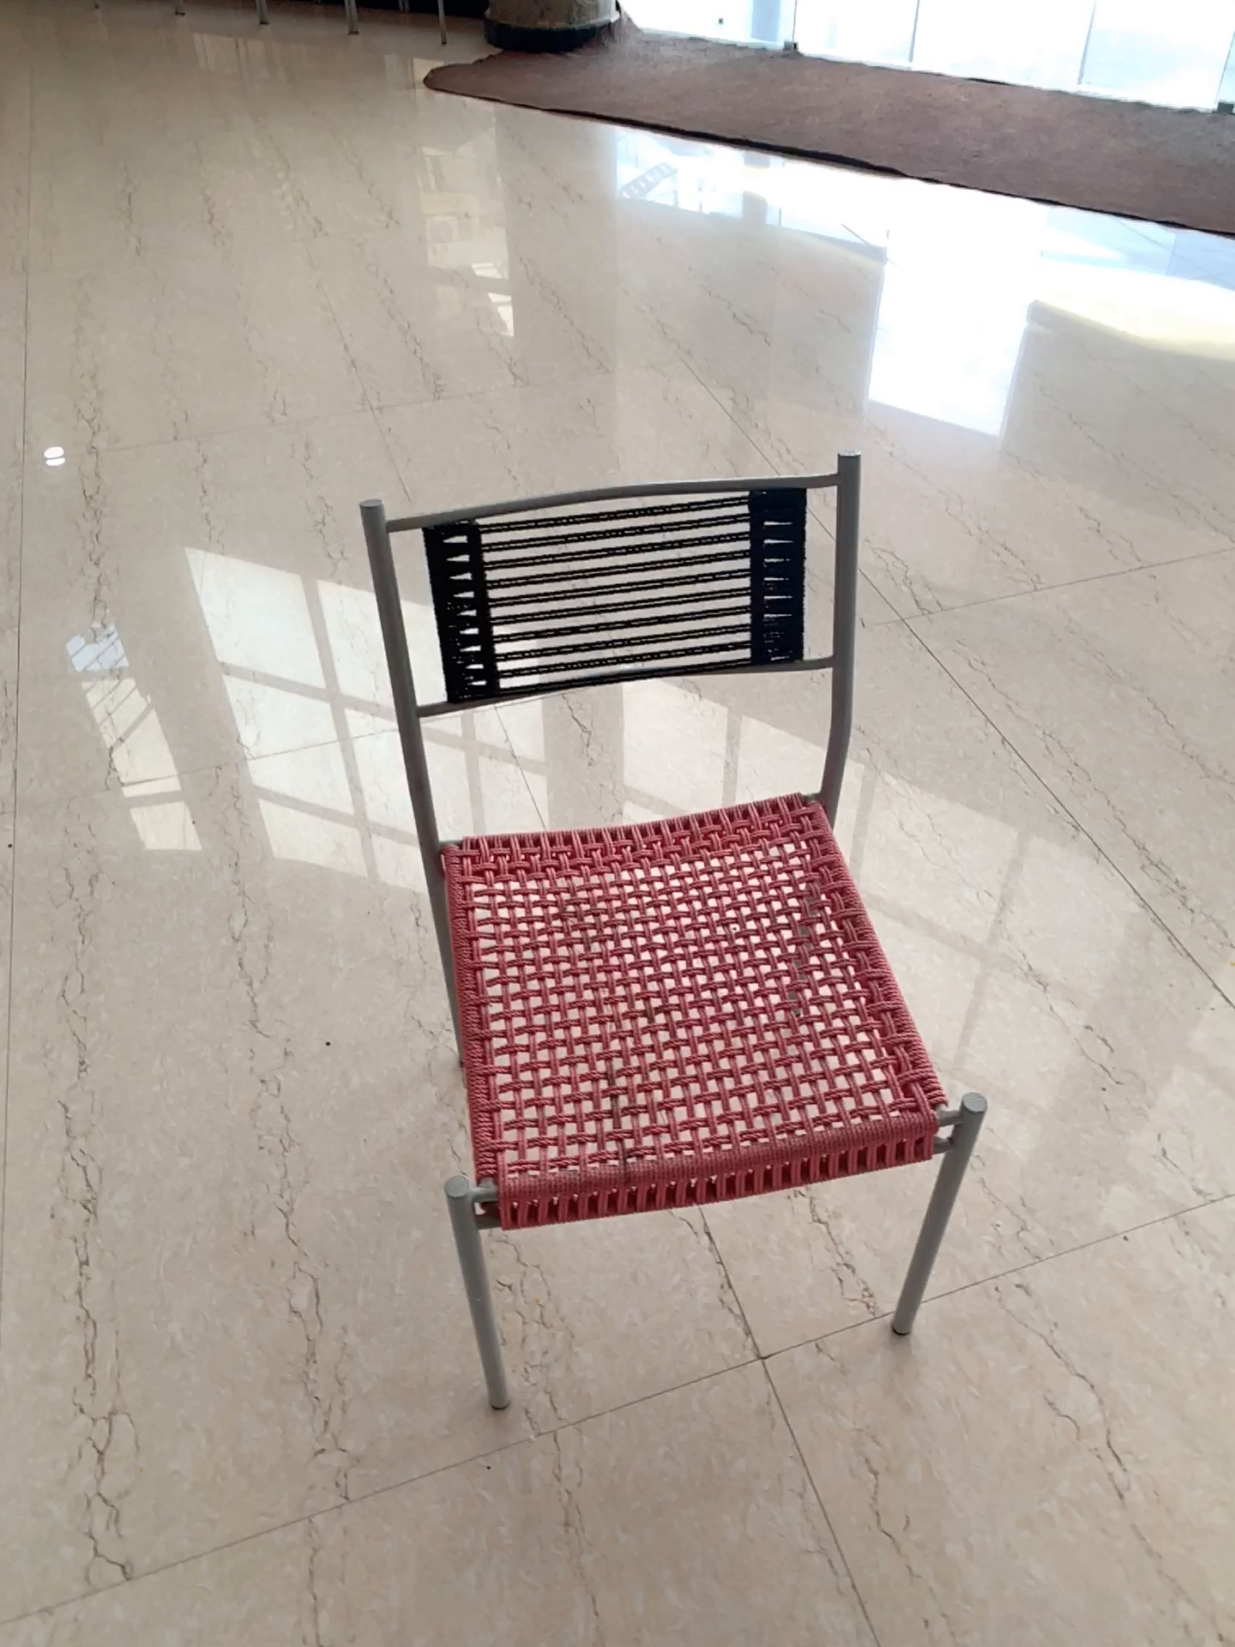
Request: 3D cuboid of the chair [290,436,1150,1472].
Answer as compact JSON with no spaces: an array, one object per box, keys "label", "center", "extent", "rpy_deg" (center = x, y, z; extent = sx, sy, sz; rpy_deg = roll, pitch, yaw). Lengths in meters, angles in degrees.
[{"label":"chair","center":[0.024,0.129,1.219],"extent":[0.530,0.734,0.585],"rpy_deg":[-8,44,-7]}]
